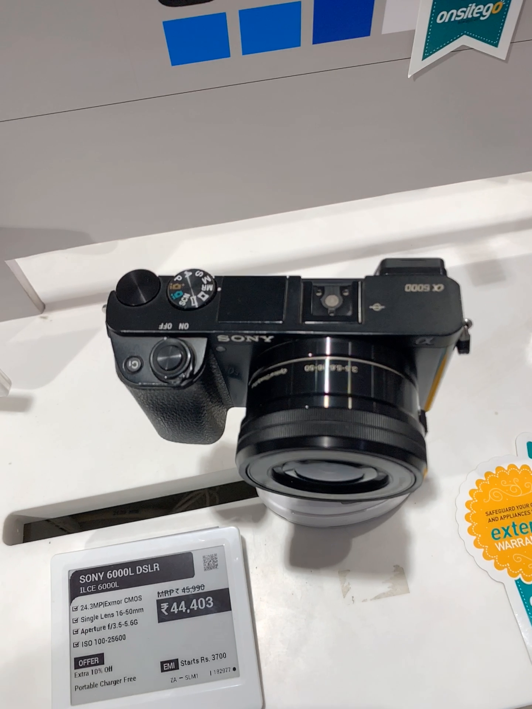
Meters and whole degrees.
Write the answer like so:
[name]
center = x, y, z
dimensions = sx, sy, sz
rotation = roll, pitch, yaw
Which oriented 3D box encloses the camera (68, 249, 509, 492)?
[camera]
center = 0.007, 0.012, 0.201
dimensions = 0.120, 0.090, 0.050
rotation = -2, 60, 3
